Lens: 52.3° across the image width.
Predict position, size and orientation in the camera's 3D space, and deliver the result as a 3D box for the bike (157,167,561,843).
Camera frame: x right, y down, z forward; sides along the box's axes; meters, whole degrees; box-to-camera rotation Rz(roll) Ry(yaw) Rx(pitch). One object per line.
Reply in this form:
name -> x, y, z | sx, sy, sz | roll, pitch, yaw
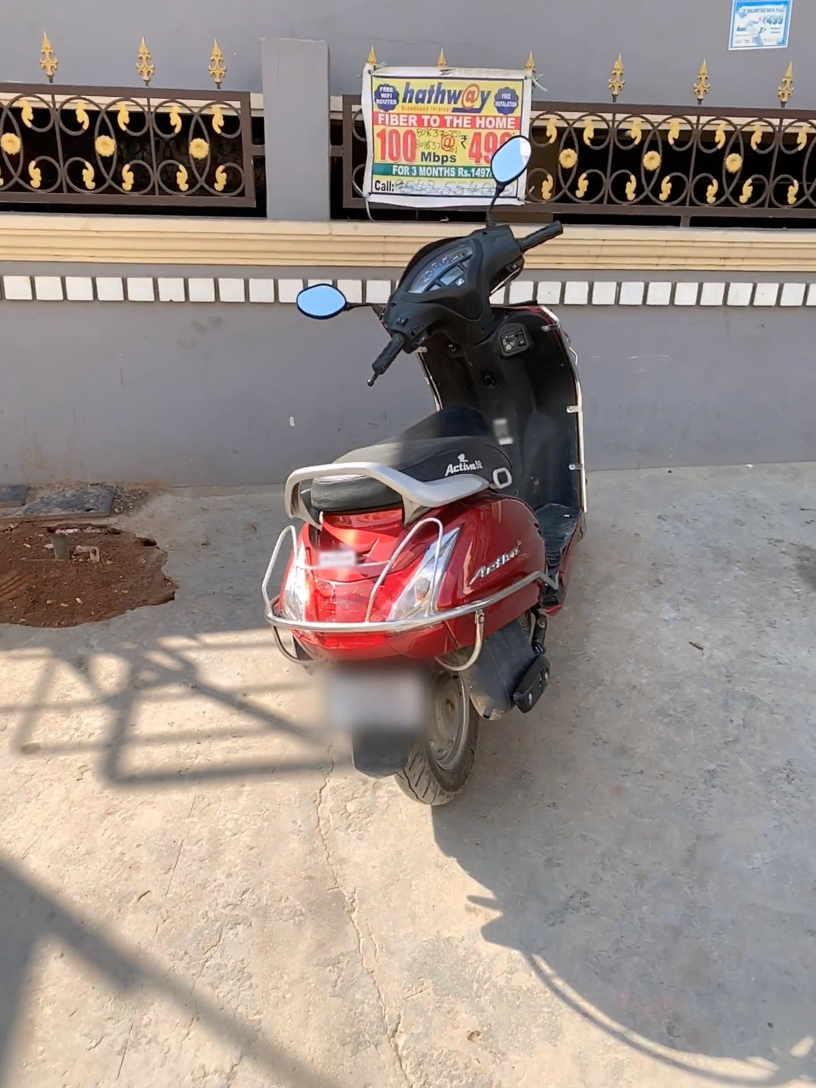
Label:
bike -> 0.022, -0.364, 2.363 | 0.622, 1.164, 1.763 | 6, 27, 11
